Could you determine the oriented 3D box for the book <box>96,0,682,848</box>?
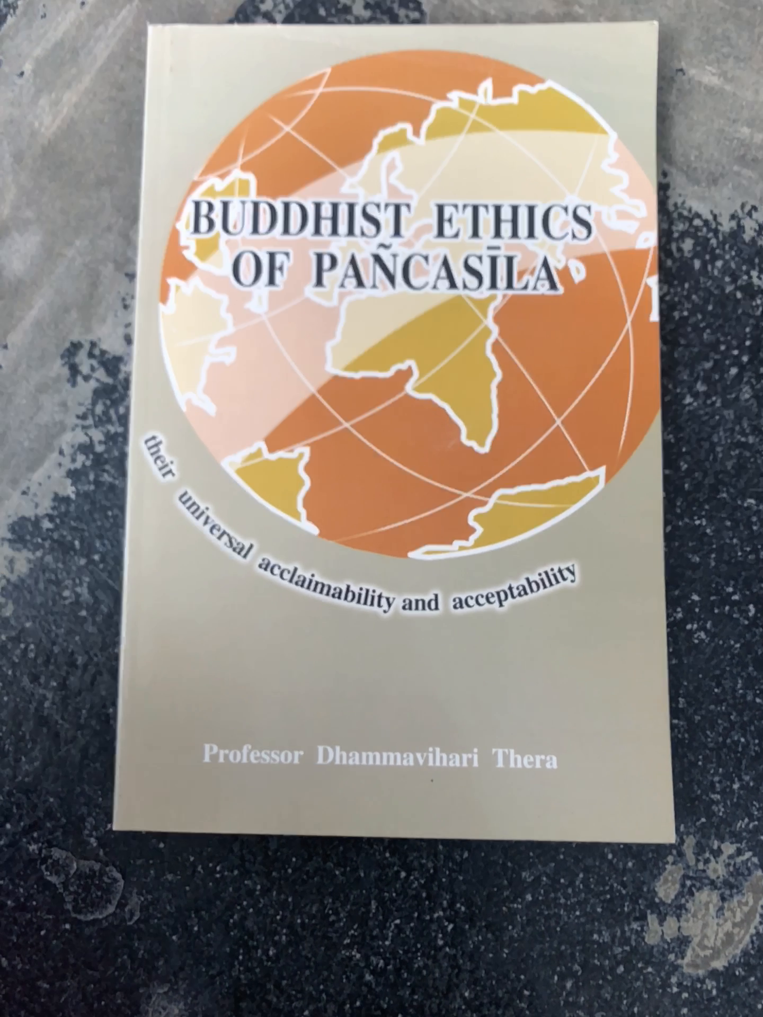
[{"bbox_3d":[0.002,-0.028,0.224,0.140,0.010,0.220,0,83,-1],"label":"book"}]
